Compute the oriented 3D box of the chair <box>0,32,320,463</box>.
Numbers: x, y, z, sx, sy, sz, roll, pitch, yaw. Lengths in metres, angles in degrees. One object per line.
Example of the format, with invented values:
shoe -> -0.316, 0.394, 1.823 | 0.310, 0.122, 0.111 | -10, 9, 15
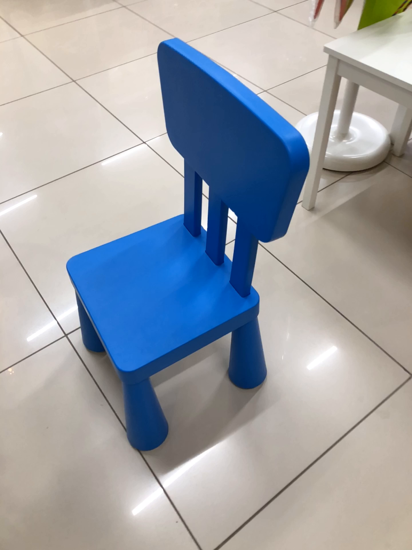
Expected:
chair -> -0.093, -0.005, 0.852 | 0.355, 0.666, 0.357 | -25, 53, -18
